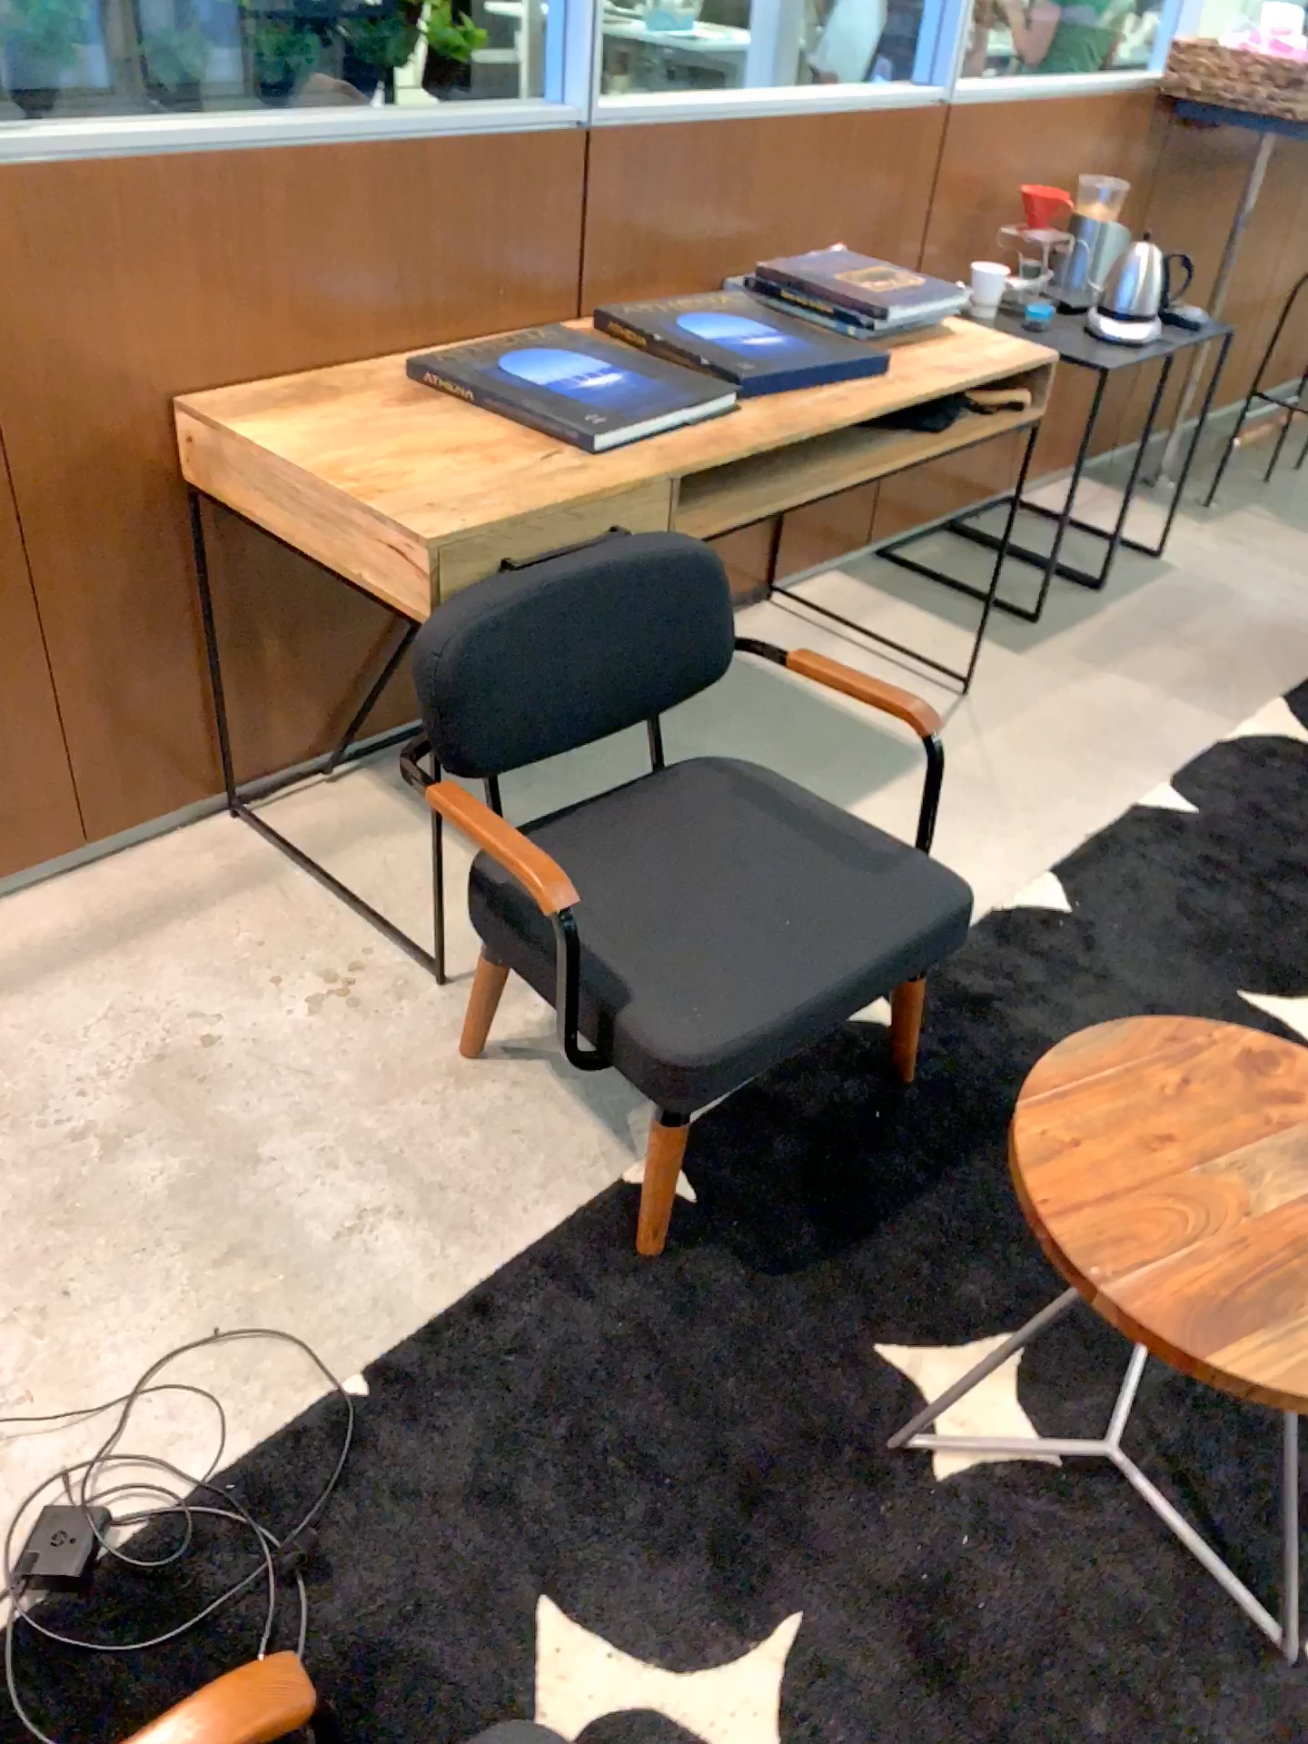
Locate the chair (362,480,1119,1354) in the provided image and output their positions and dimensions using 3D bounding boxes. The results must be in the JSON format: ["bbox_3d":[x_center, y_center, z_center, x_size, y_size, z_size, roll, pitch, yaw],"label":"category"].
[{"bbox_3d":[0.087,0.023,1.954,0.752,0.875,0.612,-25,46,-35],"label":"chair"}]
